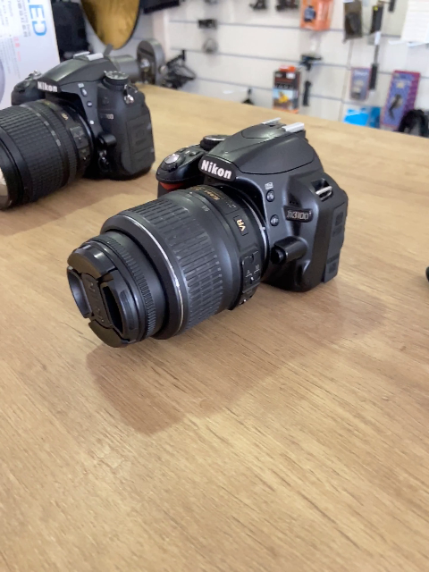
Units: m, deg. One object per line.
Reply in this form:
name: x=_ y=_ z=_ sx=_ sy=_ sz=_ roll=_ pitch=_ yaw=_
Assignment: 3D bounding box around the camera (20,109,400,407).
camera: x=0.004 y=-0.040 z=0.283 sx=0.181 sy=0.089 sz=0.130 roll=-29 pitch=42 yaw=-35
